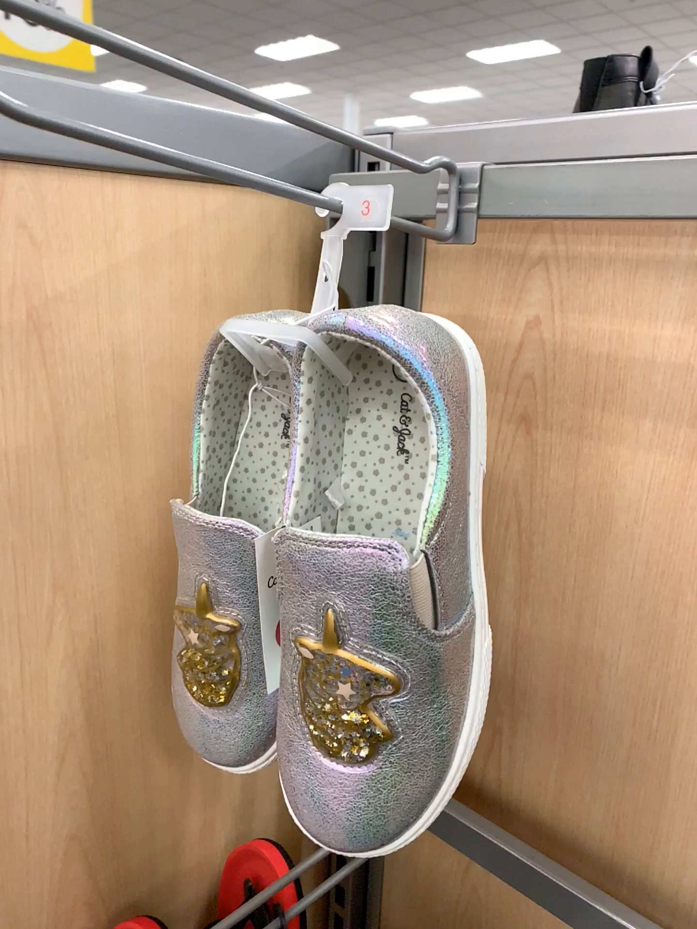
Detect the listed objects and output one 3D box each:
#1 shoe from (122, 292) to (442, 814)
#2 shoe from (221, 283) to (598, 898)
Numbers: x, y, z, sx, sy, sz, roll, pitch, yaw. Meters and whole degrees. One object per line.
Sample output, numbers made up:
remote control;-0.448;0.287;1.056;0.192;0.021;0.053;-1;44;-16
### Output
shoe;-0.036;0.030;0.370;0.100;0.221;0.113;14;16;37
shoe;0.025;0.039;0.322;0.100;0.221;0.113;14;16;37
